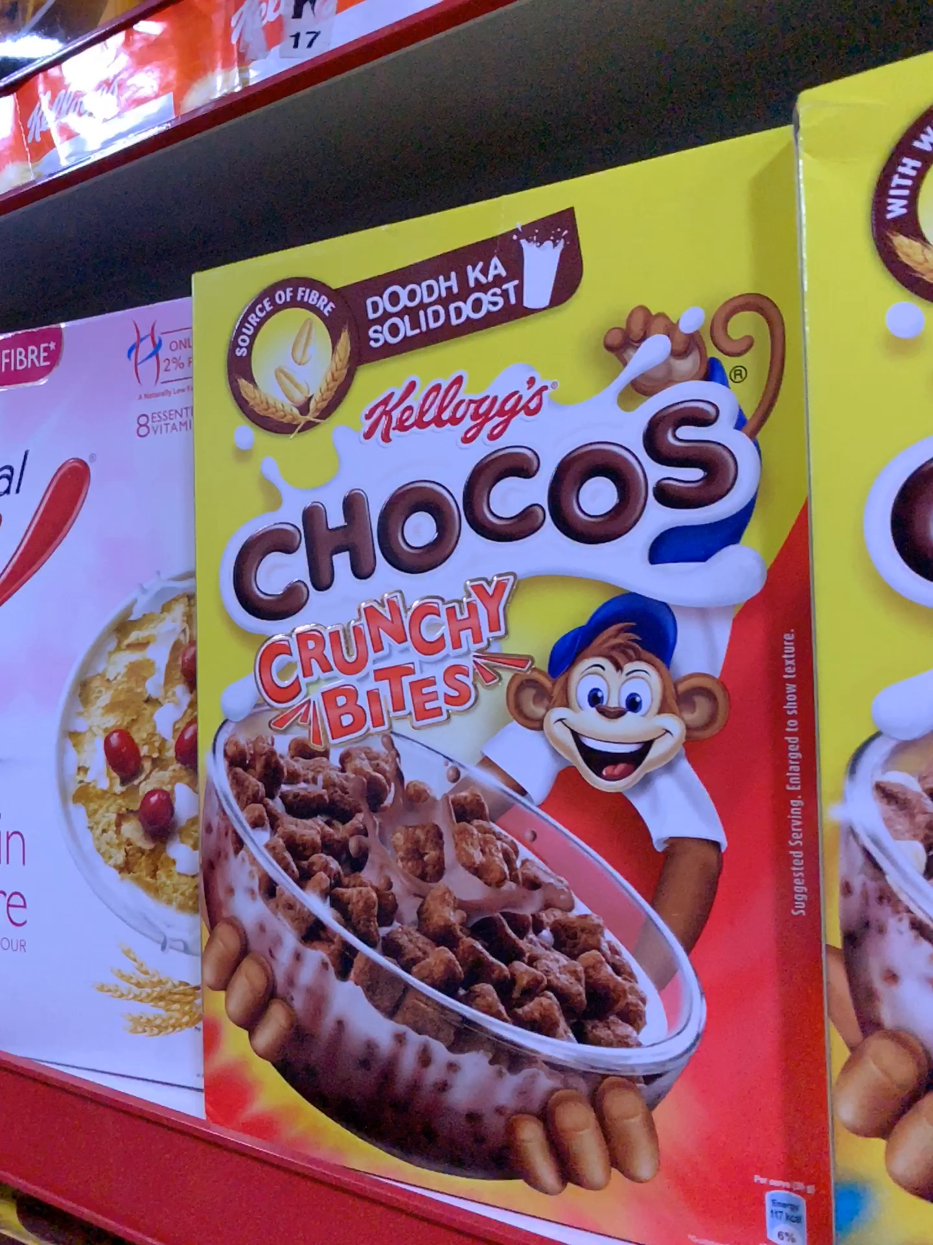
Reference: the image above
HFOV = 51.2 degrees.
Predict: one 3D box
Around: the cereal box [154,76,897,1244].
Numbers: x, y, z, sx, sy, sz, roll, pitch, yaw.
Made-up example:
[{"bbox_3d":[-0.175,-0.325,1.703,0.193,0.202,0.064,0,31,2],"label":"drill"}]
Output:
[{"bbox_3d":[0.013,0.016,0.278,0.190,0.260,0.080,-2,-4,24],"label":"cereal box"}]
